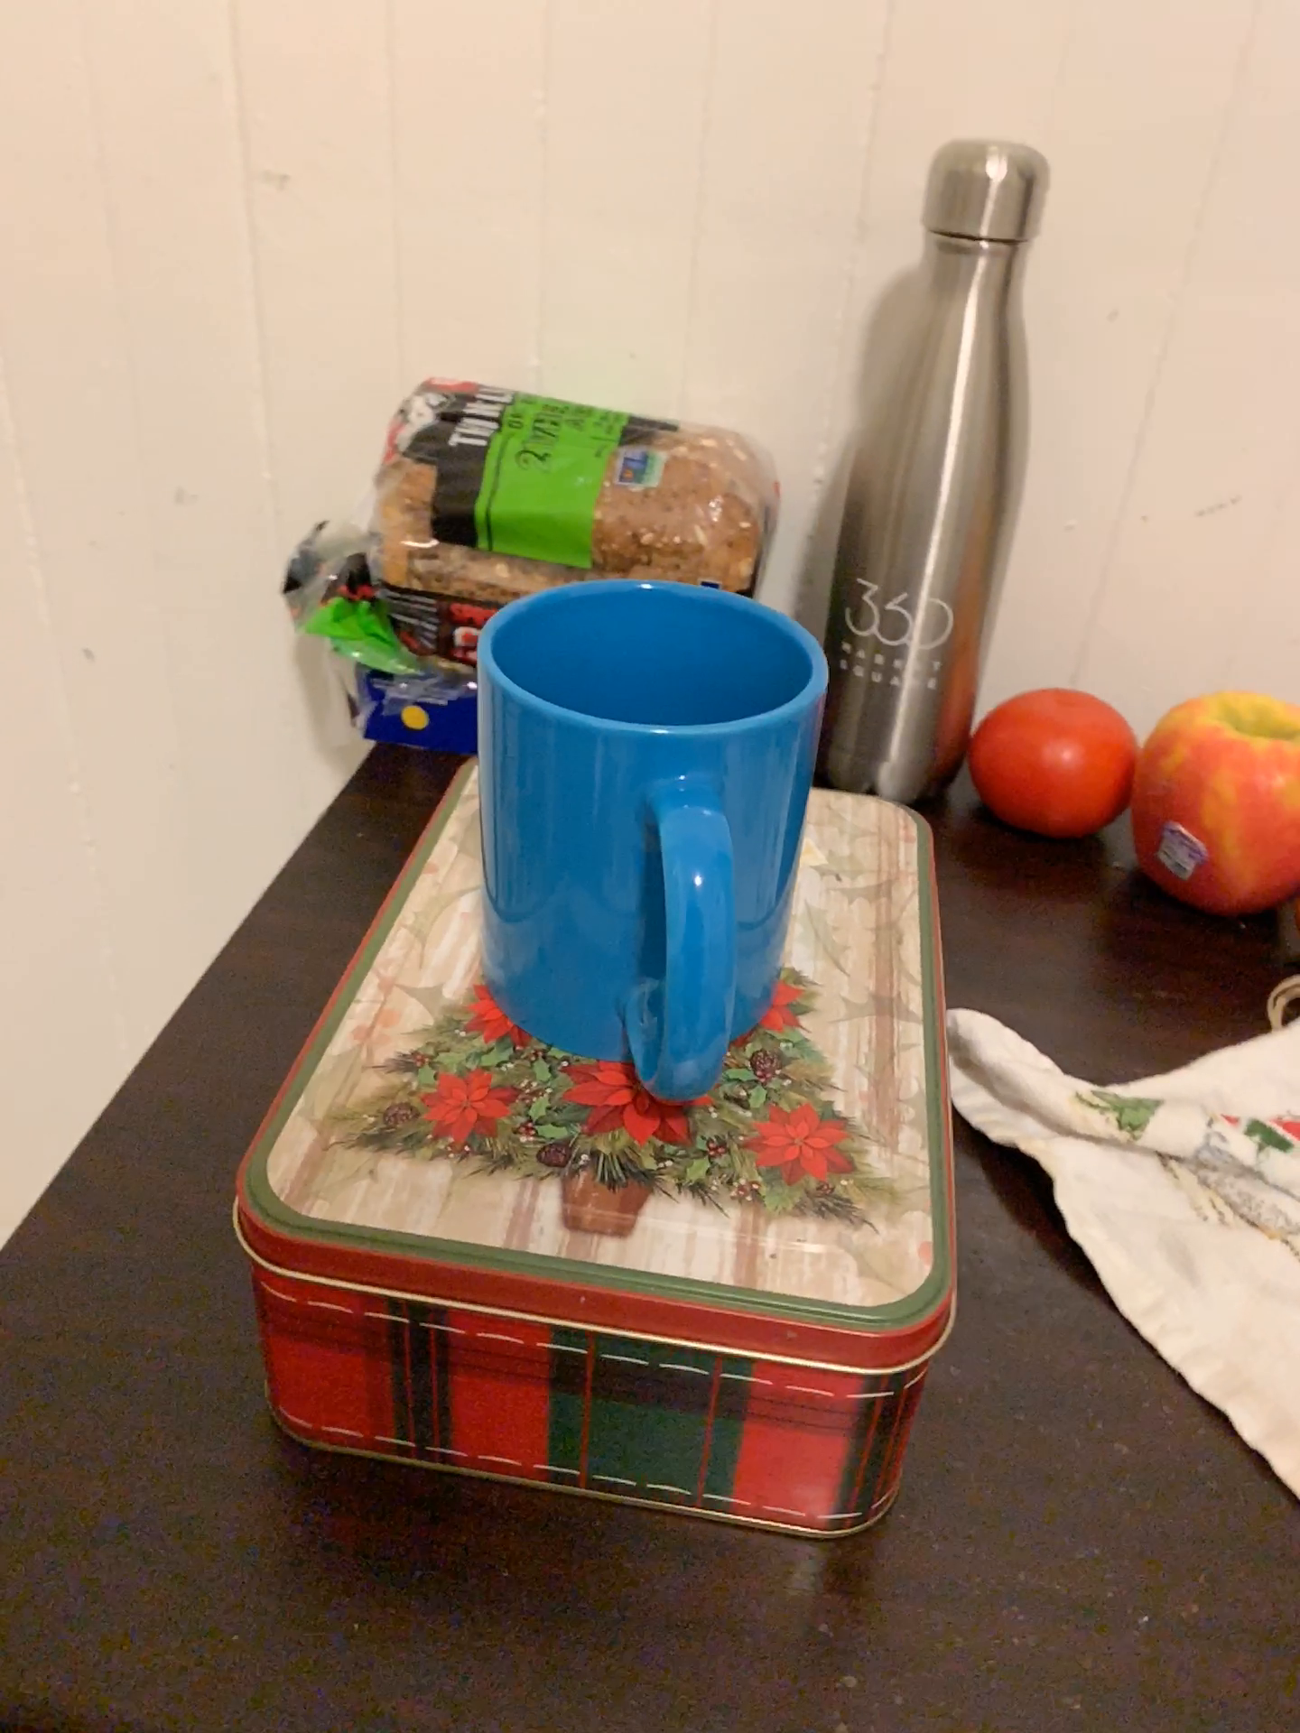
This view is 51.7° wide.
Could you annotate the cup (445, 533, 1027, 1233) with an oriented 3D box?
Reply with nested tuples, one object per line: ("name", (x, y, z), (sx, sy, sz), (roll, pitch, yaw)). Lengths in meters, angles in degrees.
("cup", (0.006, -0.005, 0.314), (0.090, 0.099, 0.131), (-5, 35, -14))
